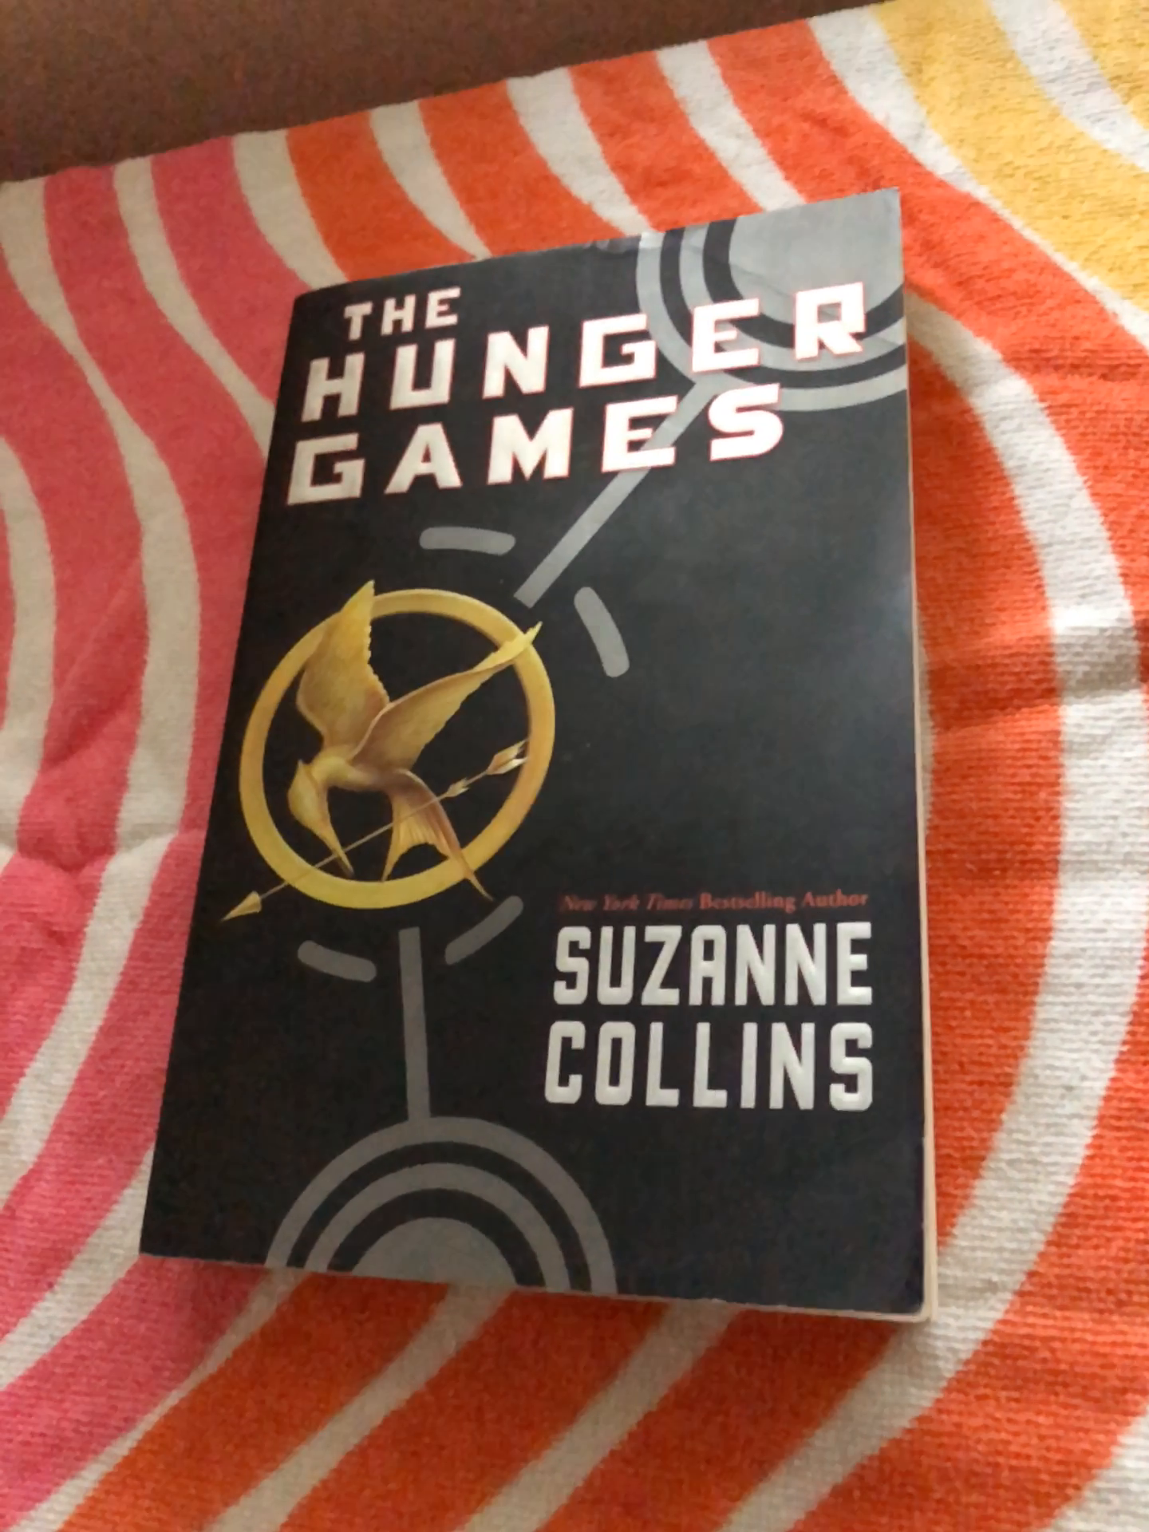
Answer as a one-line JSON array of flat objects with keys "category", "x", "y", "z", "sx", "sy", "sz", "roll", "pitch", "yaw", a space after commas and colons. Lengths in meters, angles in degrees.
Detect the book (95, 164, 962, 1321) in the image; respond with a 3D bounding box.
[{"category": "book", "x": -0.002, "y": -0.010, "z": 0.243, "sx": 0.138, "sy": 0.037, "sz": 0.200, "roll": -2, "pitch": 69, "yaw": 17}]
